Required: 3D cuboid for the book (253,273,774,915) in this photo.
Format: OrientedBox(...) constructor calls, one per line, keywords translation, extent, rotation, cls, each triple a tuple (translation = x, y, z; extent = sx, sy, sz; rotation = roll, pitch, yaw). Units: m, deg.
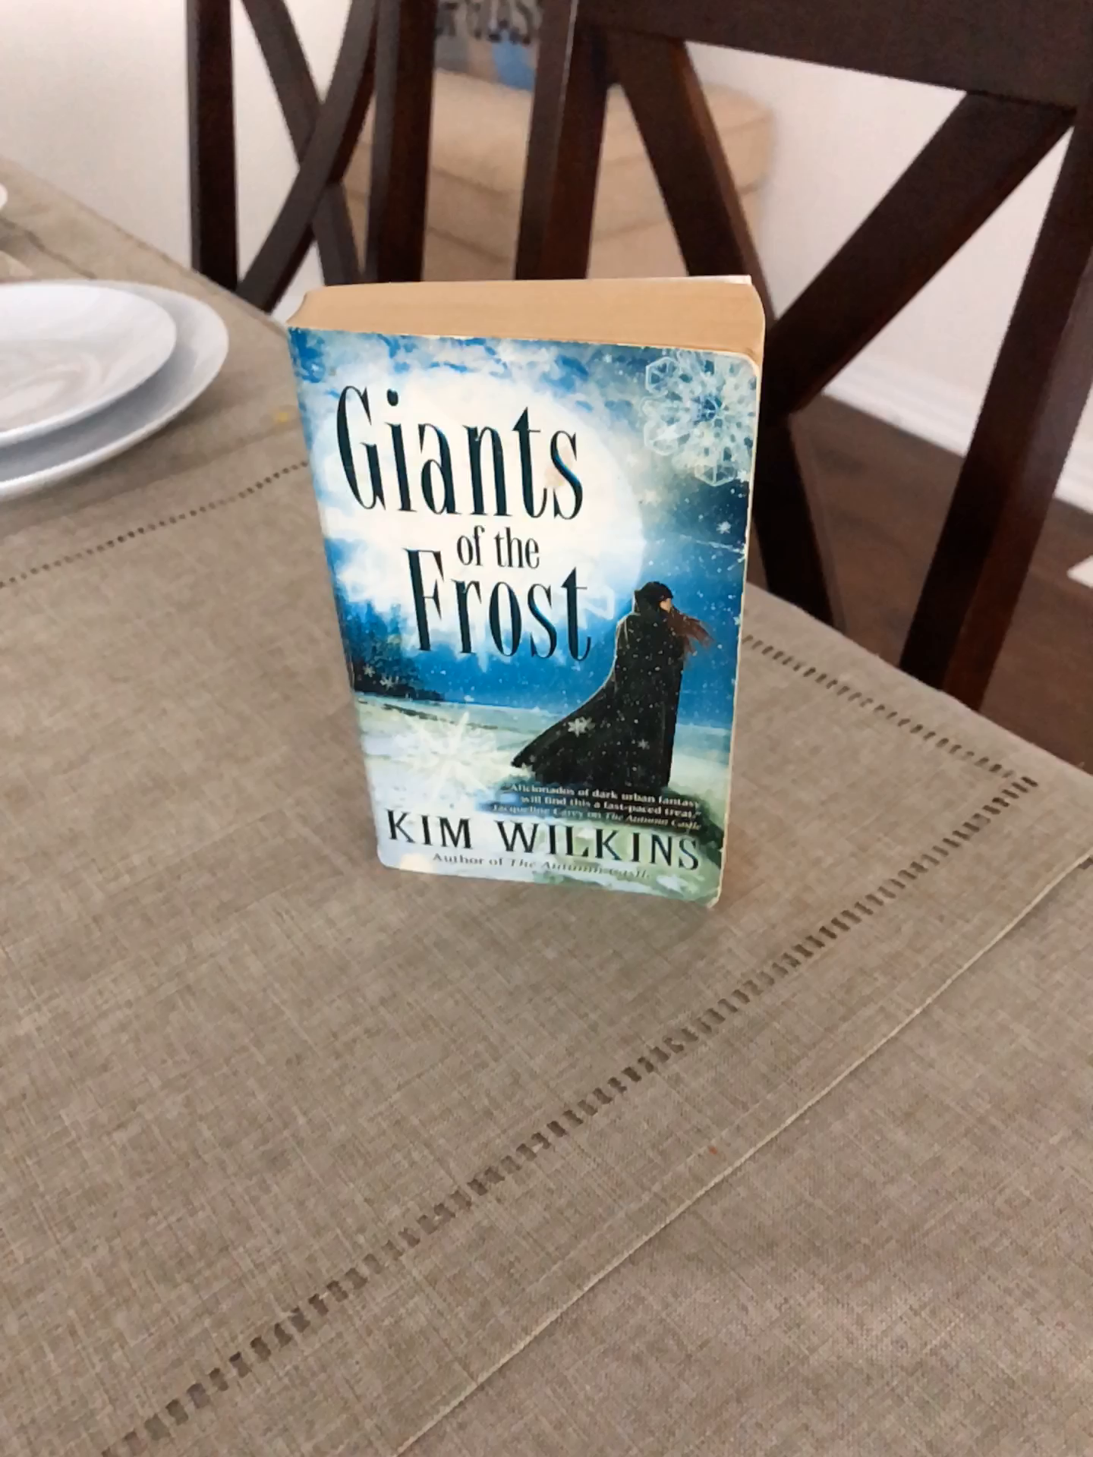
OrientedBox(translation=(-0.002, -0.029, 0.326), extent=(0.111, 0.168, 0.043), rotation=(4, 39, 9), cls="book")
